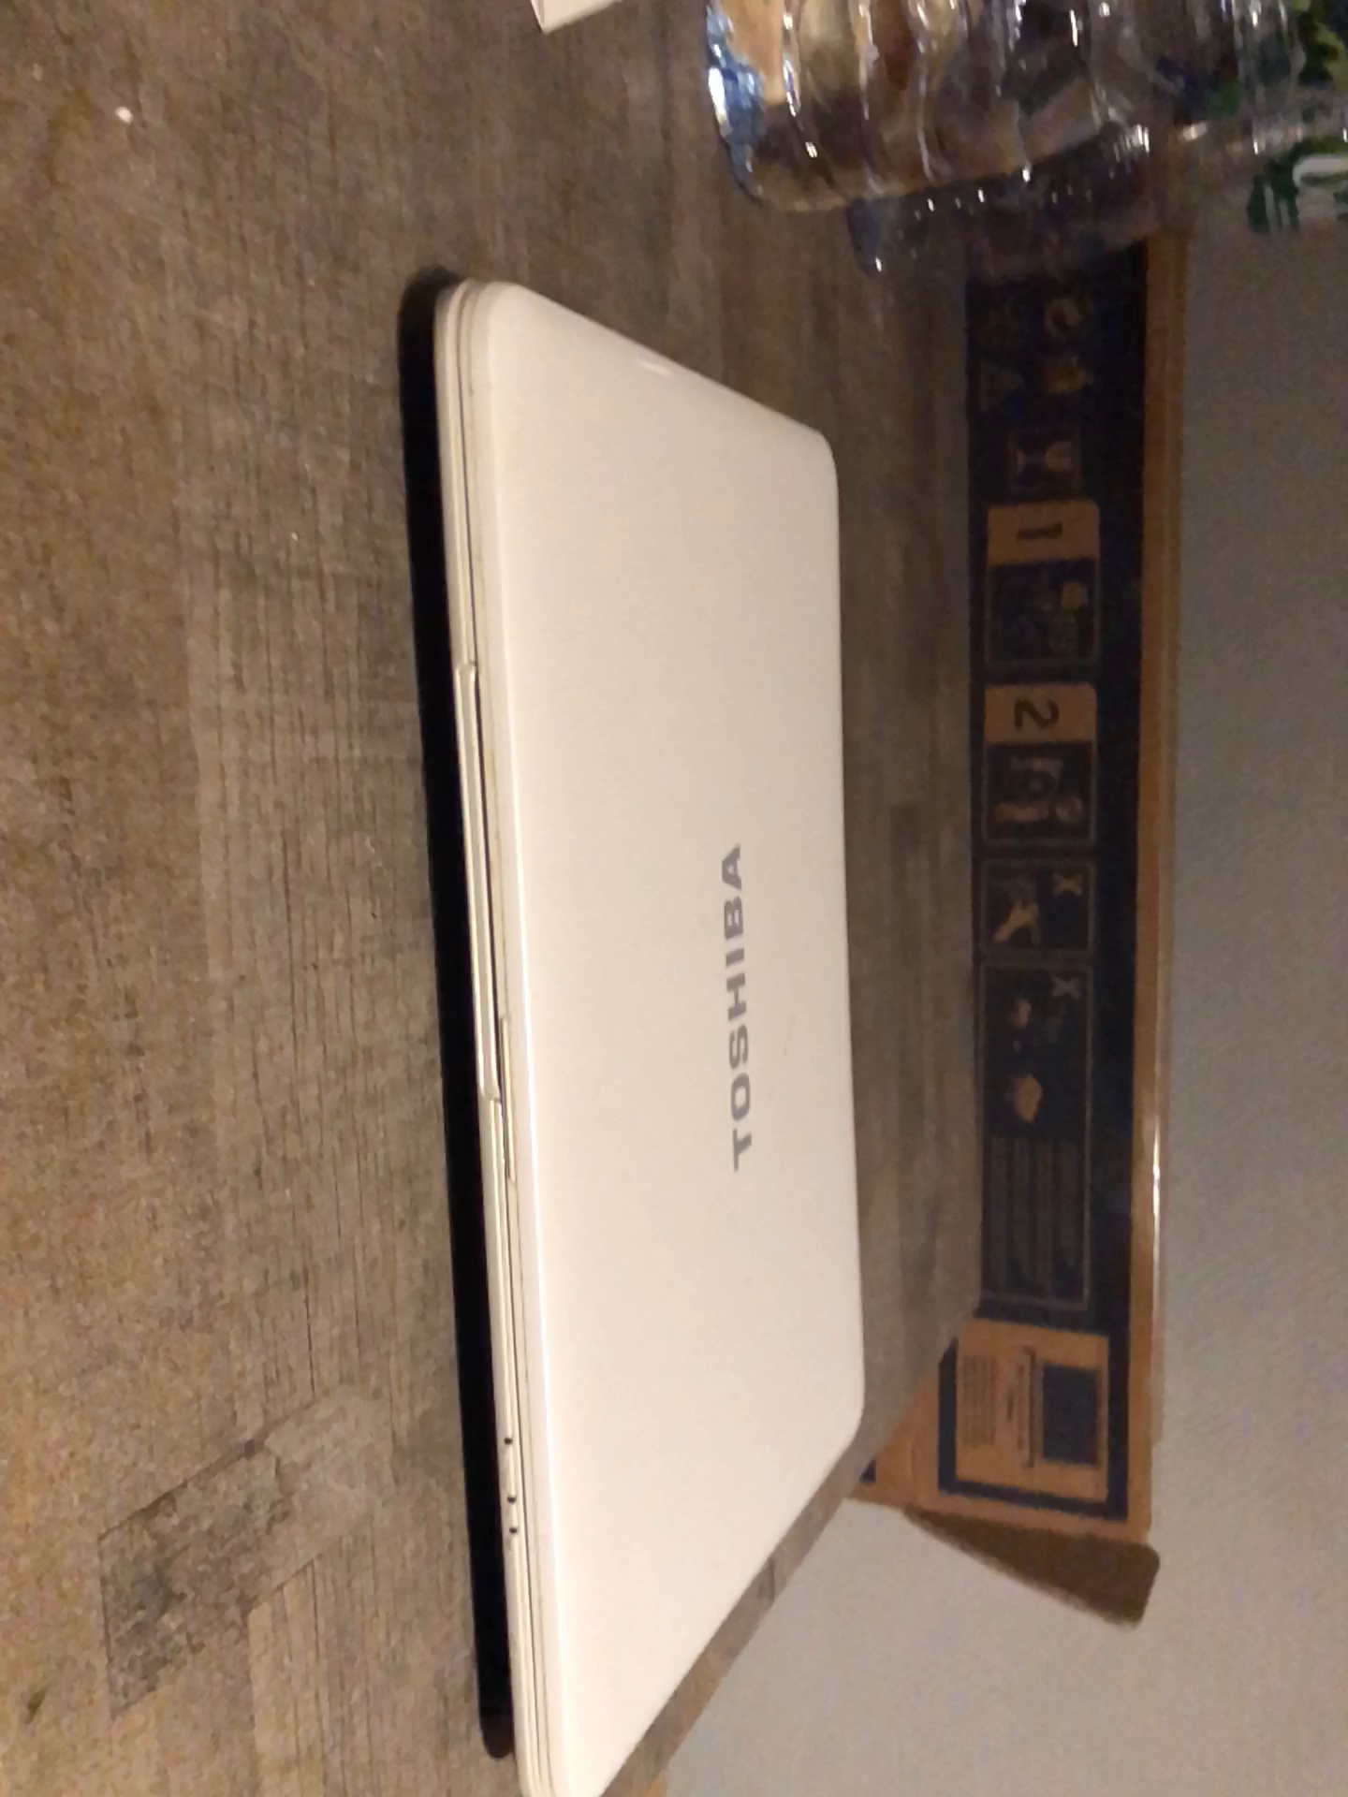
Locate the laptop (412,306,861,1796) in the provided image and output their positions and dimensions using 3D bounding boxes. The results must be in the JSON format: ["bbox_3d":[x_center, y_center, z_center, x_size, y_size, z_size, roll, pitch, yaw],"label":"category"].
[{"bbox_3d":[0.006,0.035,0.470,0.228,0.020,0.376,-15,103,-63],"label":"laptop"}]
